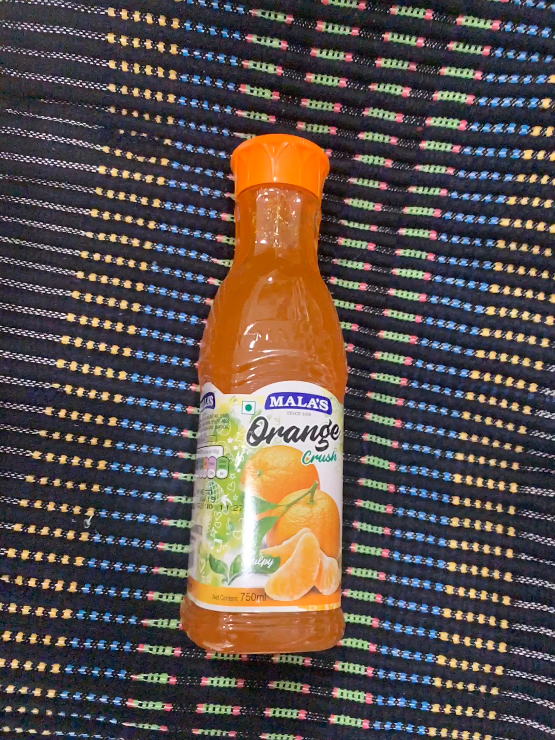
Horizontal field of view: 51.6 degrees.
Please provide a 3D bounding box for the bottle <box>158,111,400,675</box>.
[{"bbox_3d":[0.000,0.010,0.268,0.080,0.080,0.220,7,76,-15],"label":"bottle"}]
